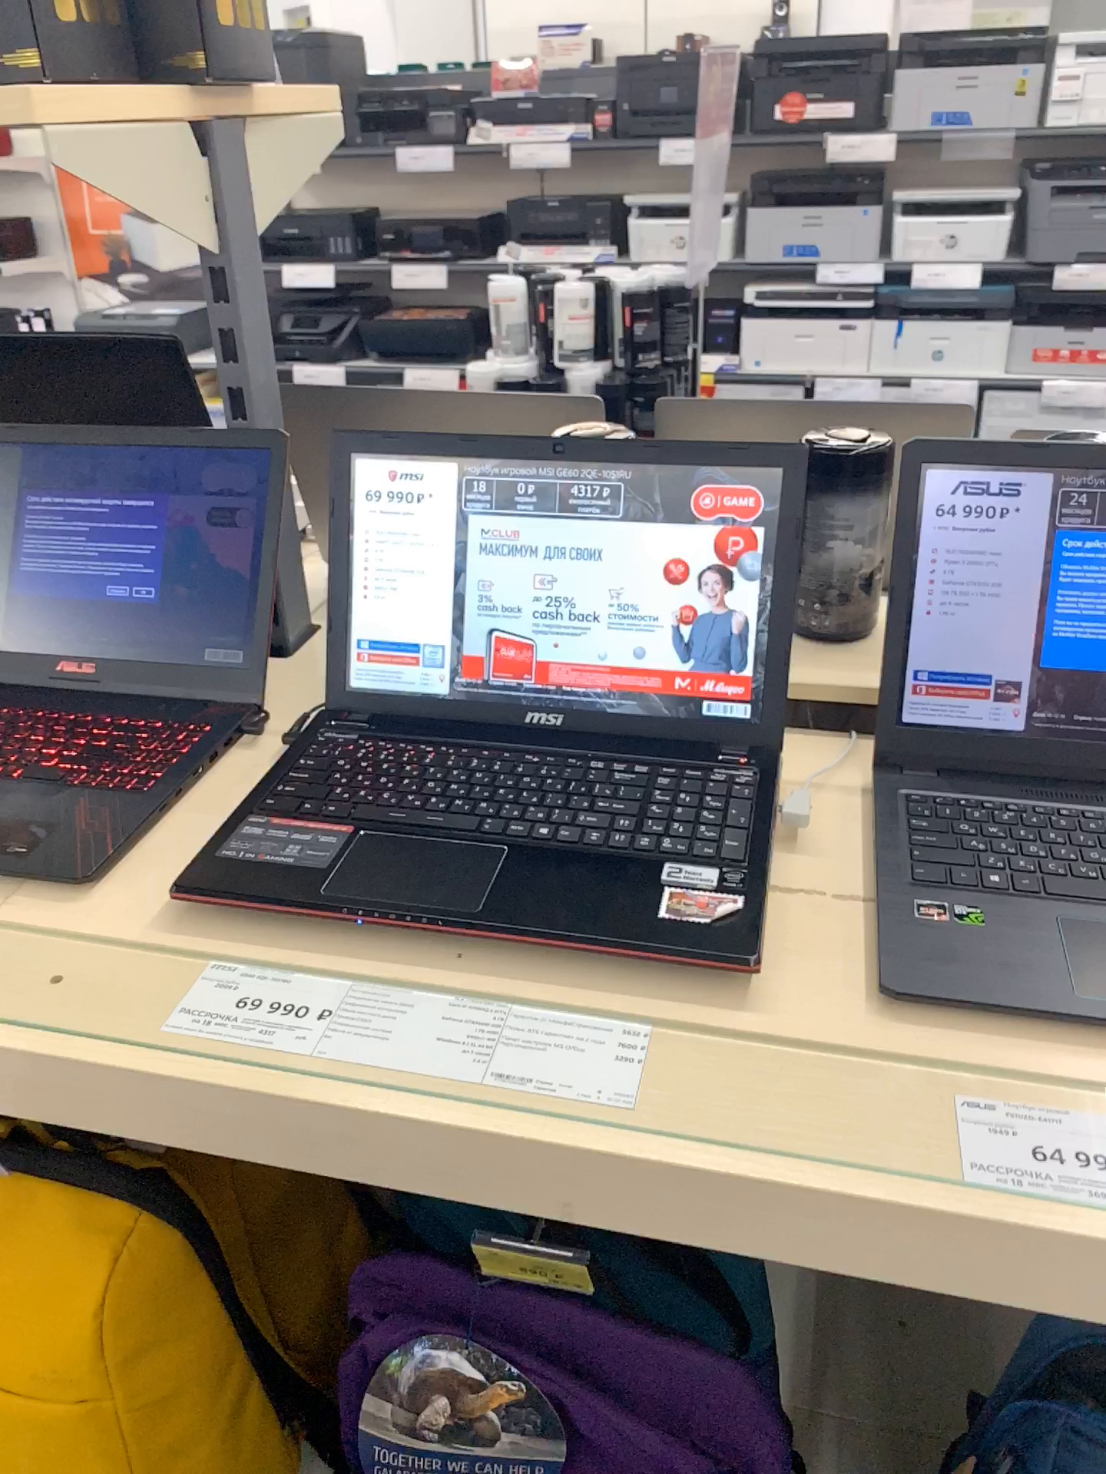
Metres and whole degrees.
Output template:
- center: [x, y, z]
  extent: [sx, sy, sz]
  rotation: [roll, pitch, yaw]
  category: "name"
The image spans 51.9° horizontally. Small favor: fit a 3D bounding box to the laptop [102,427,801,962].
- center: [-0.030, -0.057, 0.747]
  extent: [0.355, 0.197, 0.314]
  rotation: [5, 30, 12]
  category: "laptop"
